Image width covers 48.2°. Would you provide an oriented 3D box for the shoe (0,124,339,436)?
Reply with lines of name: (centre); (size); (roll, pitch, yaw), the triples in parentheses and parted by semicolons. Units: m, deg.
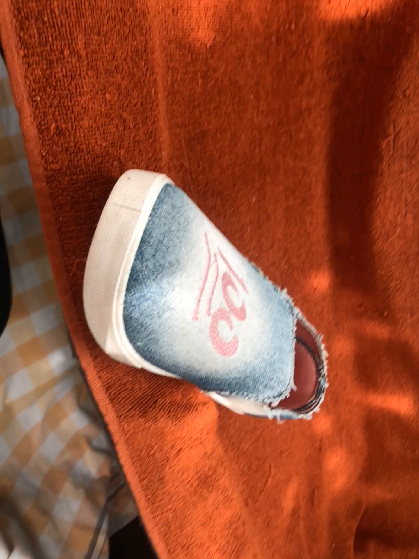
shoe: (0.005, 0.023, 0.304); (0.242, 0.079, 0.090); (45, 58, -50)
